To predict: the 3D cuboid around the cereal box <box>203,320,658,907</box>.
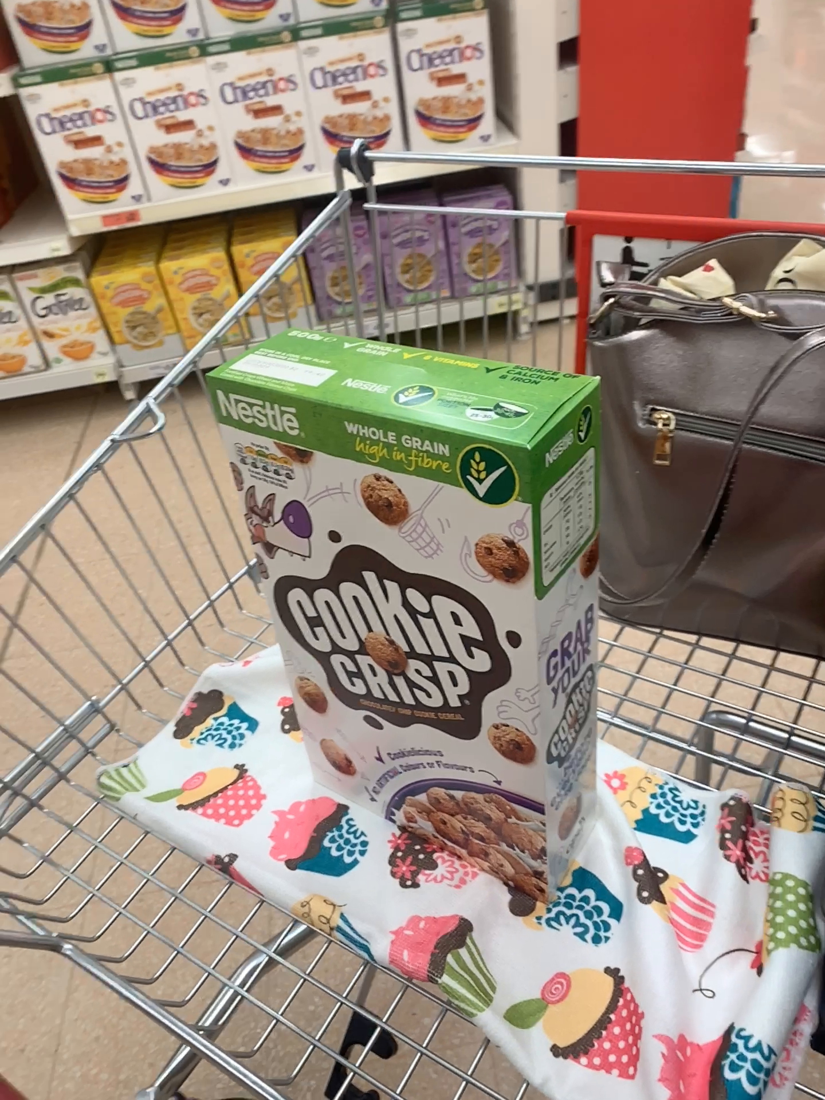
[{"bbox_3d":[0.012,0.040,0.499,0.221,0.307,0.070,18,40,30],"label":"cereal box"}]
